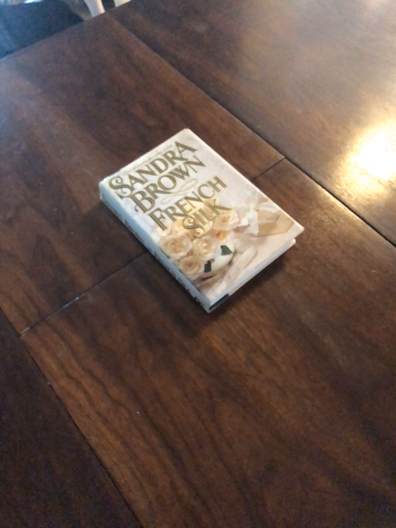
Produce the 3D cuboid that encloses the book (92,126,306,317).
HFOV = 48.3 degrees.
[{"bbox_3d":[-0.003,-0.069,0.588,0.161,0.033,0.240,-37,66,-18],"label":"book"}]
